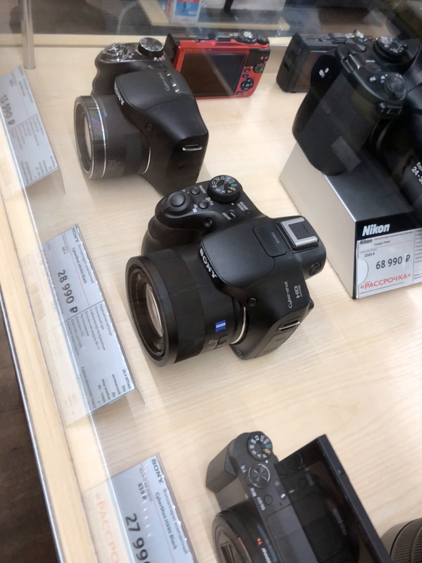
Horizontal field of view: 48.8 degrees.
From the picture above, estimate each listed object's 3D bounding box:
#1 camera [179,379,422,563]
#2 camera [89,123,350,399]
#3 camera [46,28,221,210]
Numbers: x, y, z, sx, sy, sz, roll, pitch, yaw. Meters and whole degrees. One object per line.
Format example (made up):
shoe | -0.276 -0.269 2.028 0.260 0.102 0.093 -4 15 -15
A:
camera | 0.043 0.135 0.231 0.056 0.113 0.125 -13 61 -25
camera | -0.006 -0.018 0.302 0.104 0.086 0.137 -13 61 -25
camera | -0.068 -0.135 0.380 0.096 0.073 0.122 -14 61 -25
